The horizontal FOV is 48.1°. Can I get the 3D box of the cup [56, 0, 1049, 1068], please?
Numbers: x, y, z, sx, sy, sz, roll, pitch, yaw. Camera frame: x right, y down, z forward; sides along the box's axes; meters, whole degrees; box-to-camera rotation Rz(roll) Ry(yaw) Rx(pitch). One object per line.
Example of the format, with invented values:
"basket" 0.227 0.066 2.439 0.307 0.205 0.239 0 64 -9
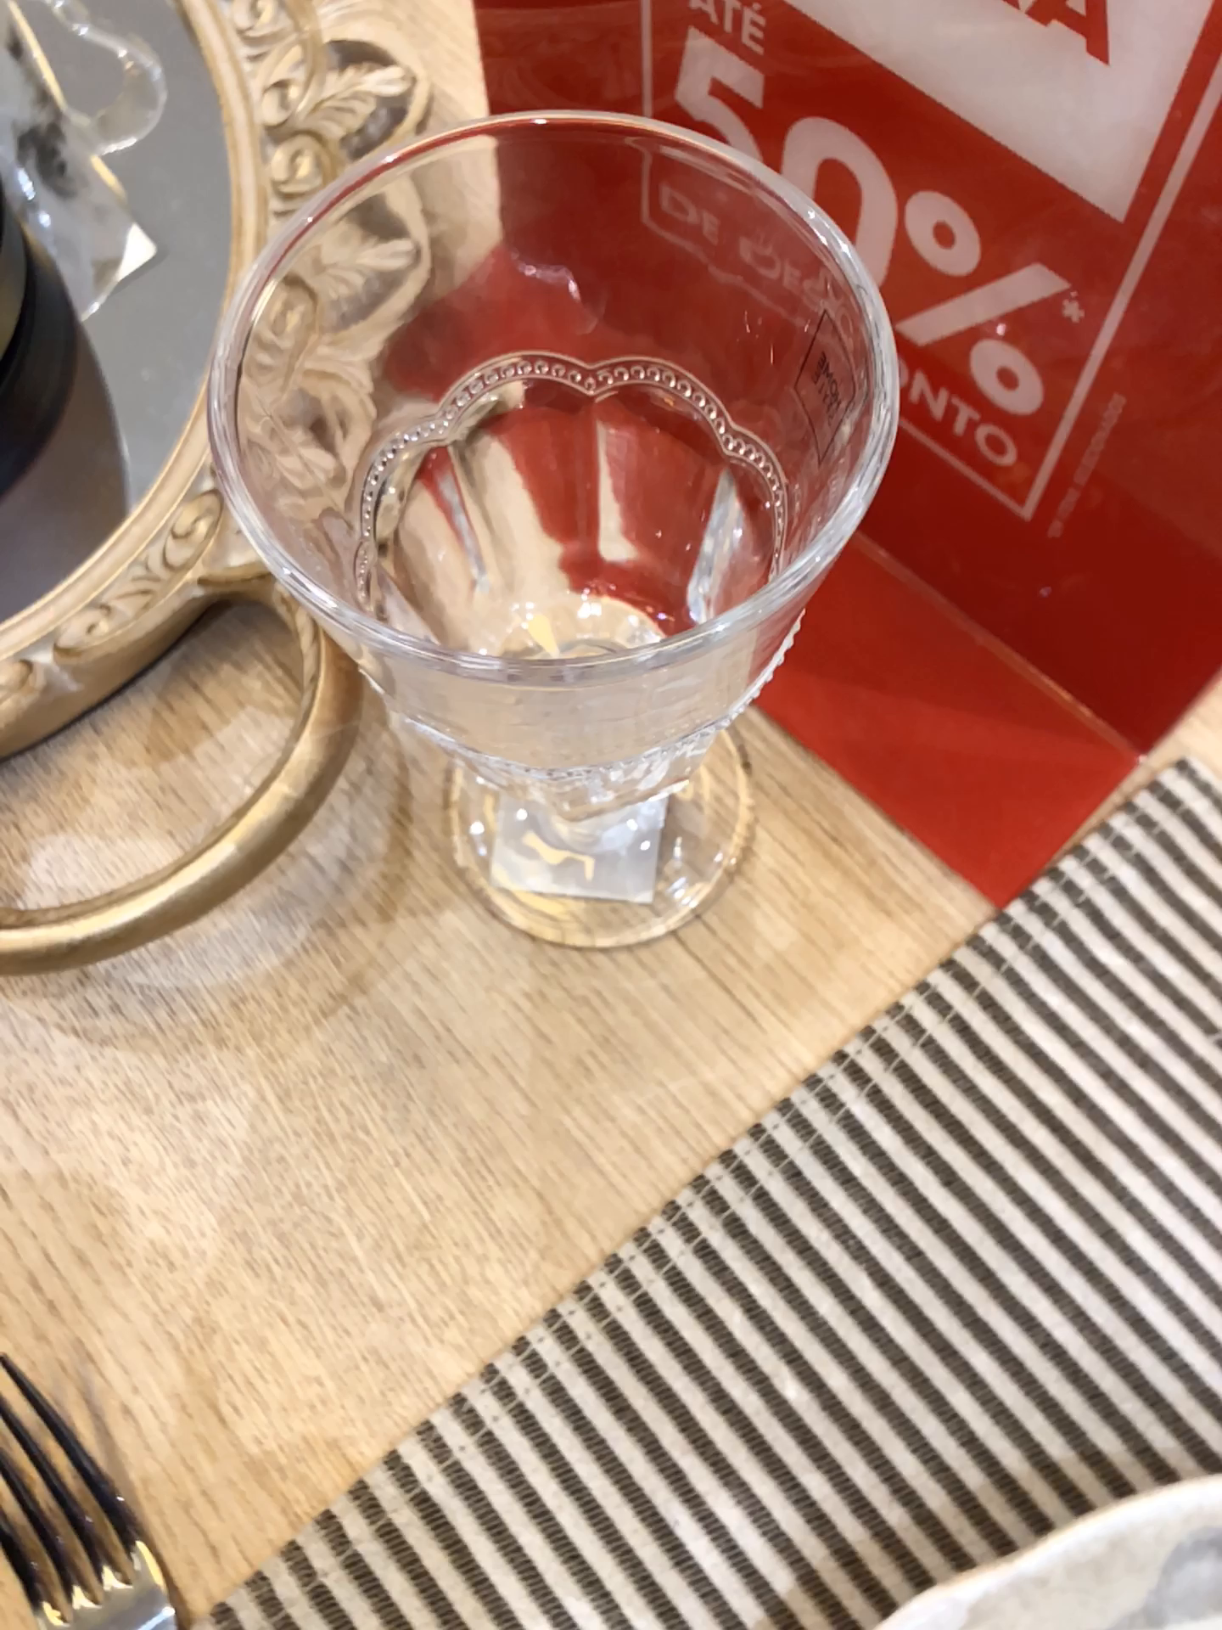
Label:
"cup" -0.005 -0.029 0.219 0.080 0.140 0.080 -1 69 2
